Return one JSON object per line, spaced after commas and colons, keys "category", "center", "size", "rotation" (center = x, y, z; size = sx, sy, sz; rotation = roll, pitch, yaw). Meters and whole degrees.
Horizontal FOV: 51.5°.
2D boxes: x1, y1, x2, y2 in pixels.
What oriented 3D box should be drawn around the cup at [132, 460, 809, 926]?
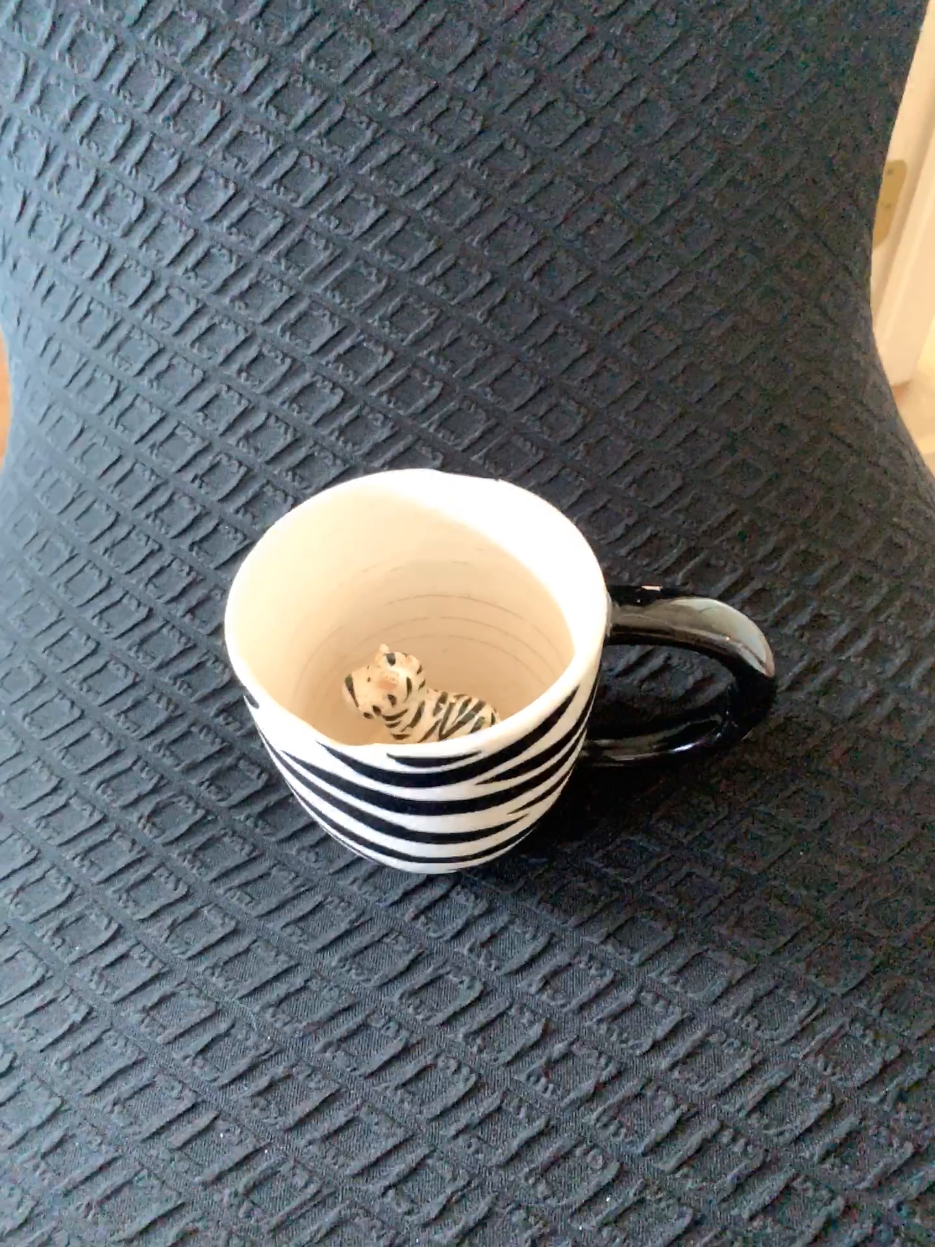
{"category": "cup", "center": [0.006, 0.019, 0.258], "size": [0.140, 0.090, 0.080], "rotation": [3, 55, 8]}
